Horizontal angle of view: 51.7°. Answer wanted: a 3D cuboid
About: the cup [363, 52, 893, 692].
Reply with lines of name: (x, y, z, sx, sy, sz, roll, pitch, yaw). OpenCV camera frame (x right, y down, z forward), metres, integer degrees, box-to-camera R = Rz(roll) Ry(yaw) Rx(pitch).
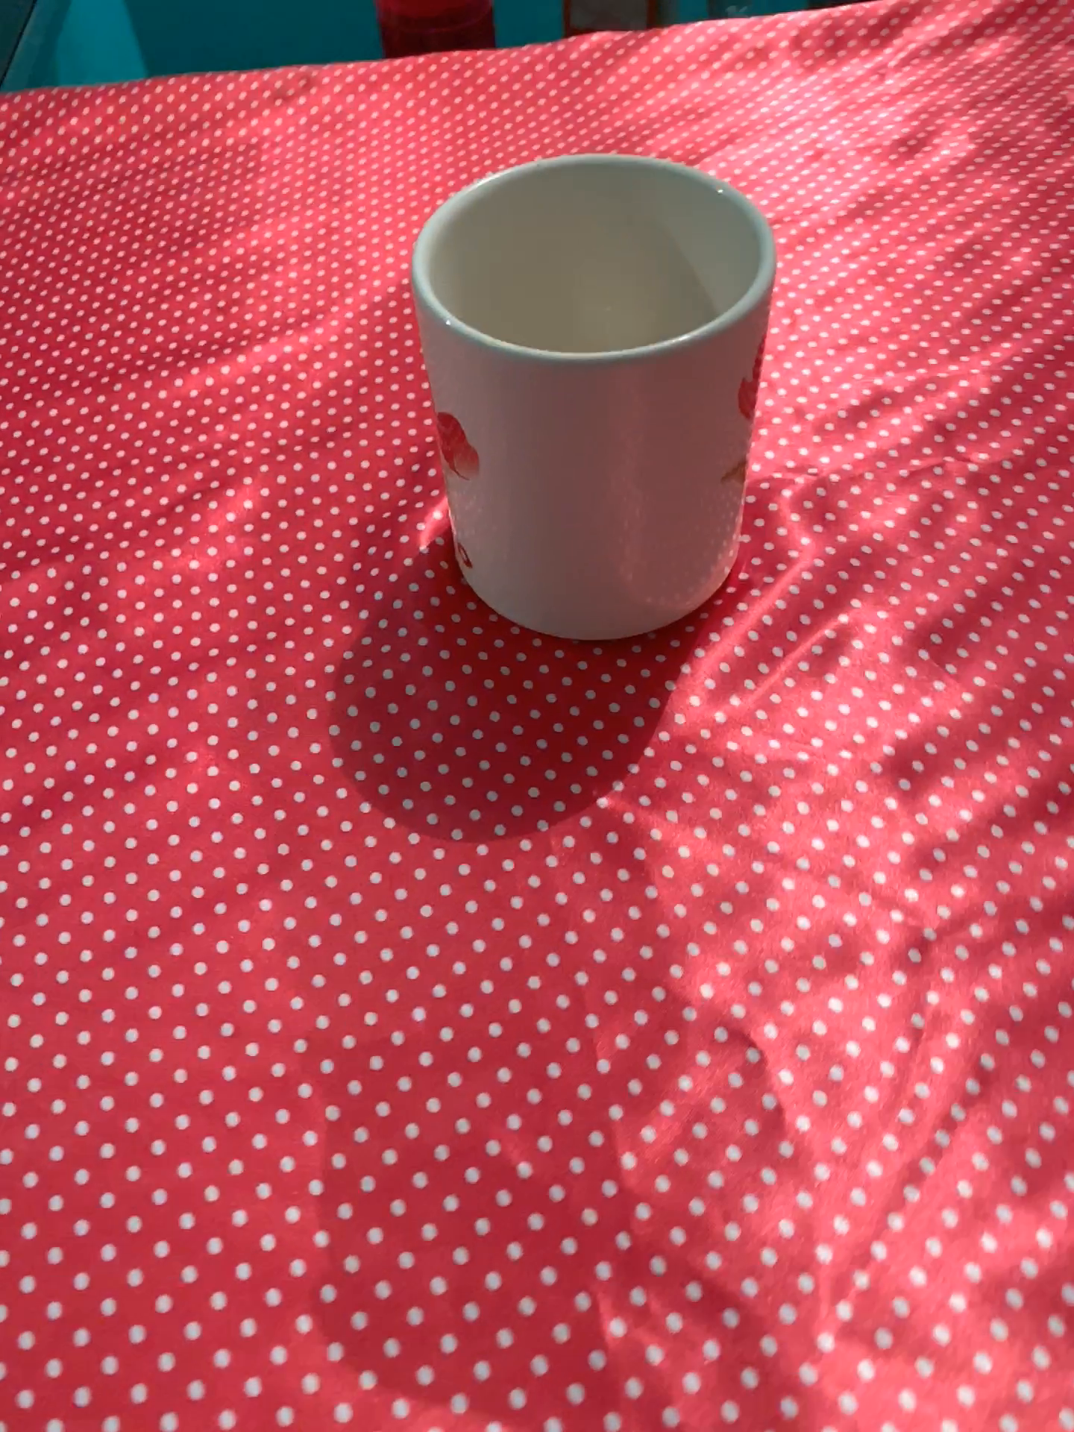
cup: (0.015, -0.088, 0.281, 0.090, 0.090, 0.120, -11, 54, -5)
